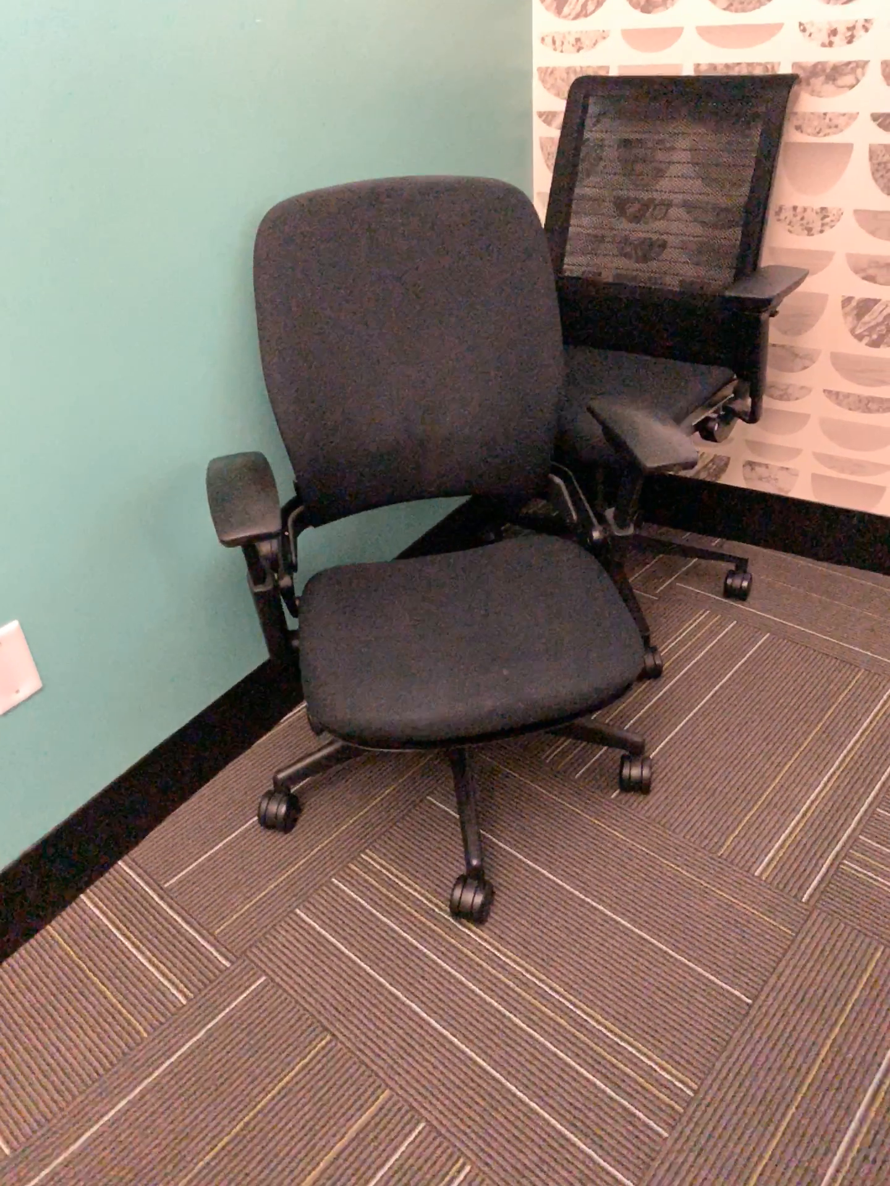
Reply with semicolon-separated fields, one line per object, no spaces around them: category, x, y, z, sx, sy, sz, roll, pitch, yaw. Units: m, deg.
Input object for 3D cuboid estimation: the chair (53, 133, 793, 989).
chair;-0.046;-0.098;1.374;0.660;0.943;0.776;-9;33;-7
